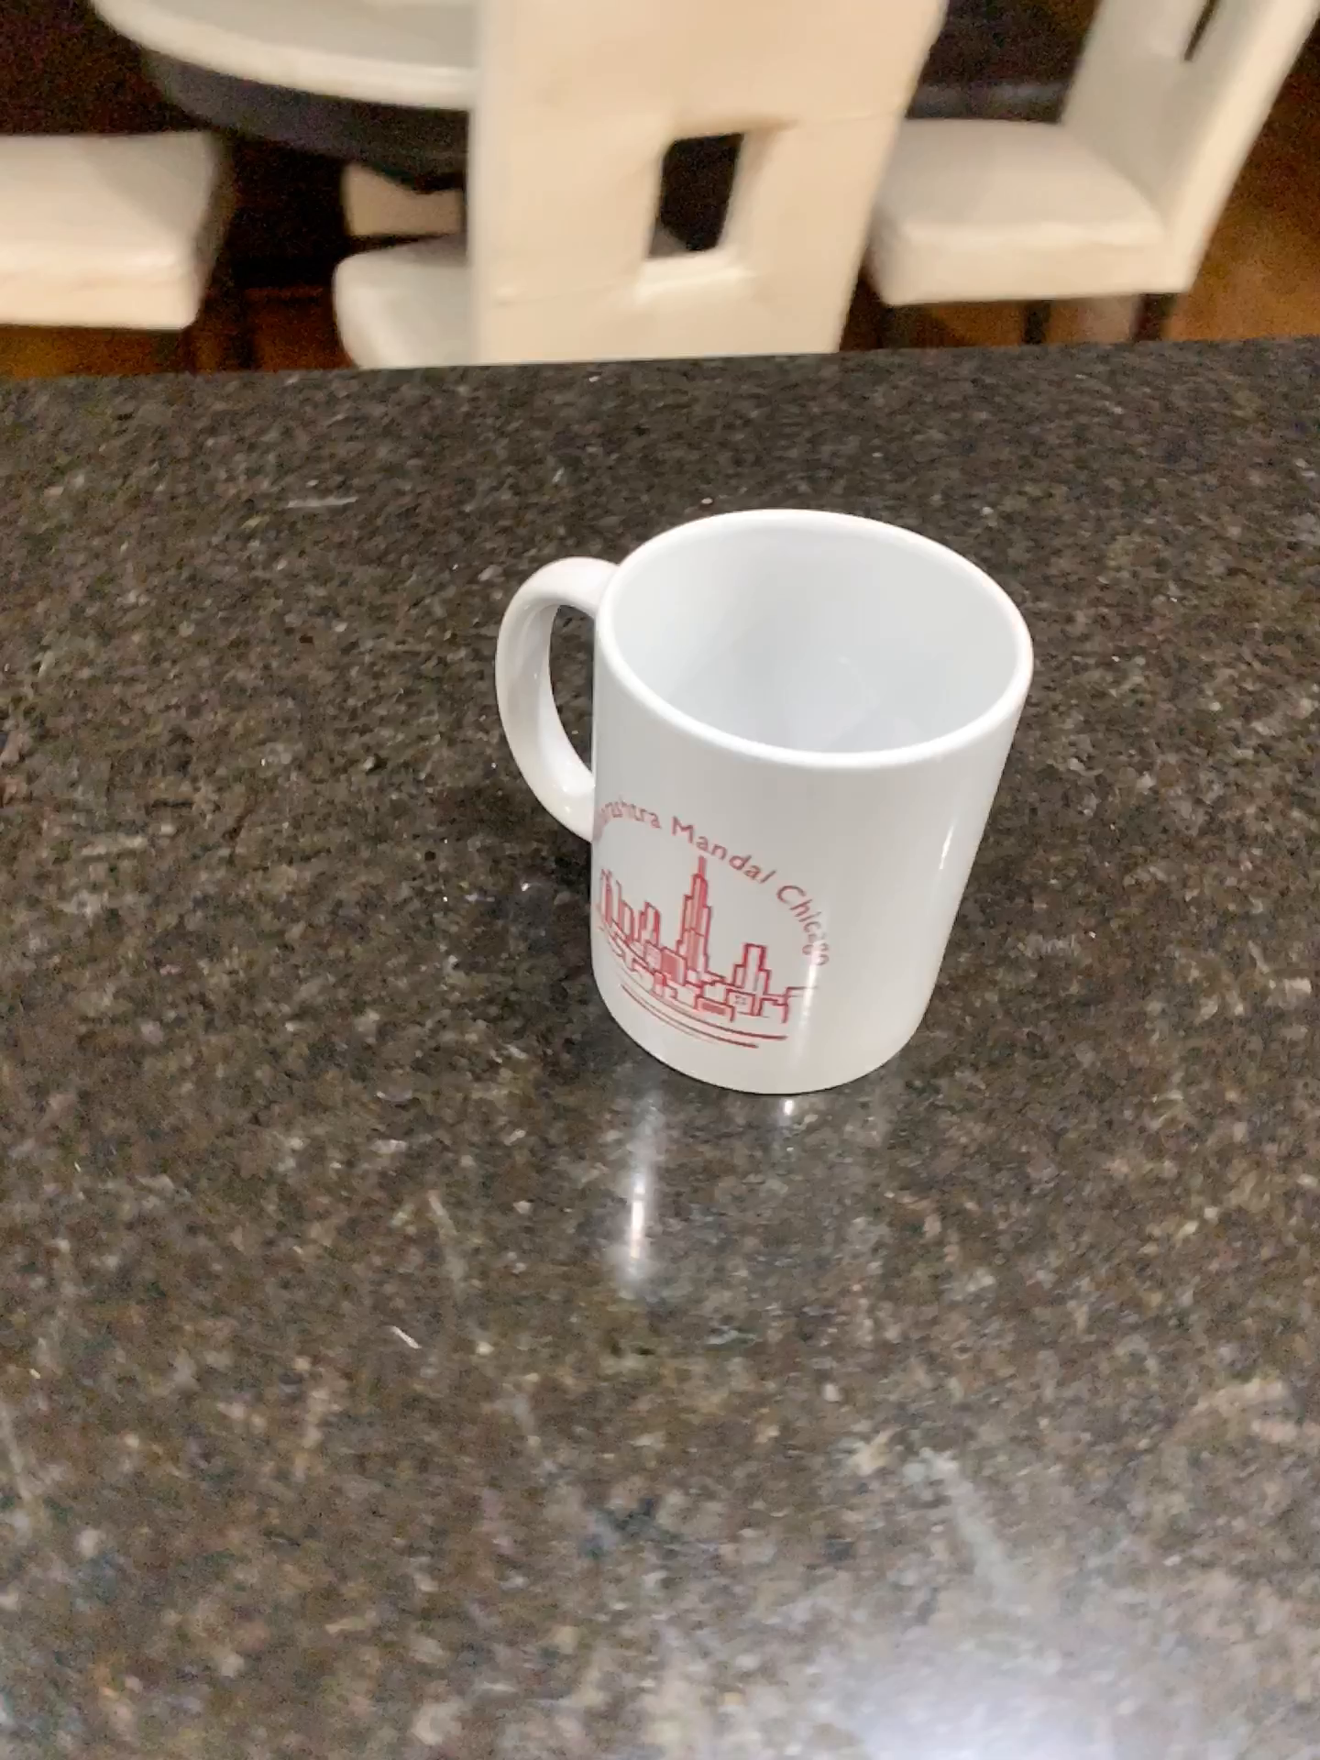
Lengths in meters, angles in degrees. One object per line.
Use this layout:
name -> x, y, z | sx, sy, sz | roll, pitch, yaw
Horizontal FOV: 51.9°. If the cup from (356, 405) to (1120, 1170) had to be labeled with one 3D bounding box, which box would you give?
cup -> 0.013, -0.025, 0.296 | 0.124, 0.097, 0.082 | 29, 50, 24
